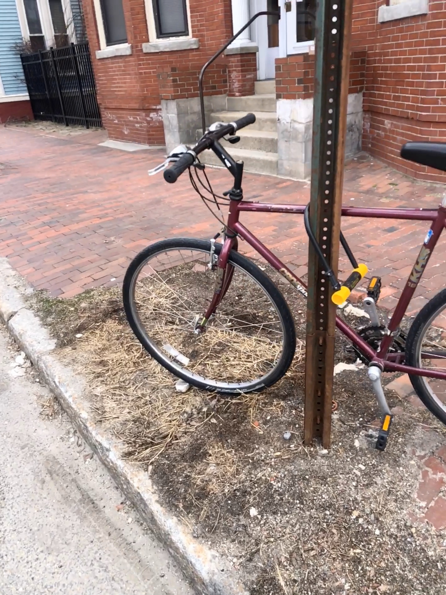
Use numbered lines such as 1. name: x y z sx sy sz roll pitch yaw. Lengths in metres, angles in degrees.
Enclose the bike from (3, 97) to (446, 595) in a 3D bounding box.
1. bike: 0.359 0.030 1.405 1.727 1.012 0.671 8 27 26
